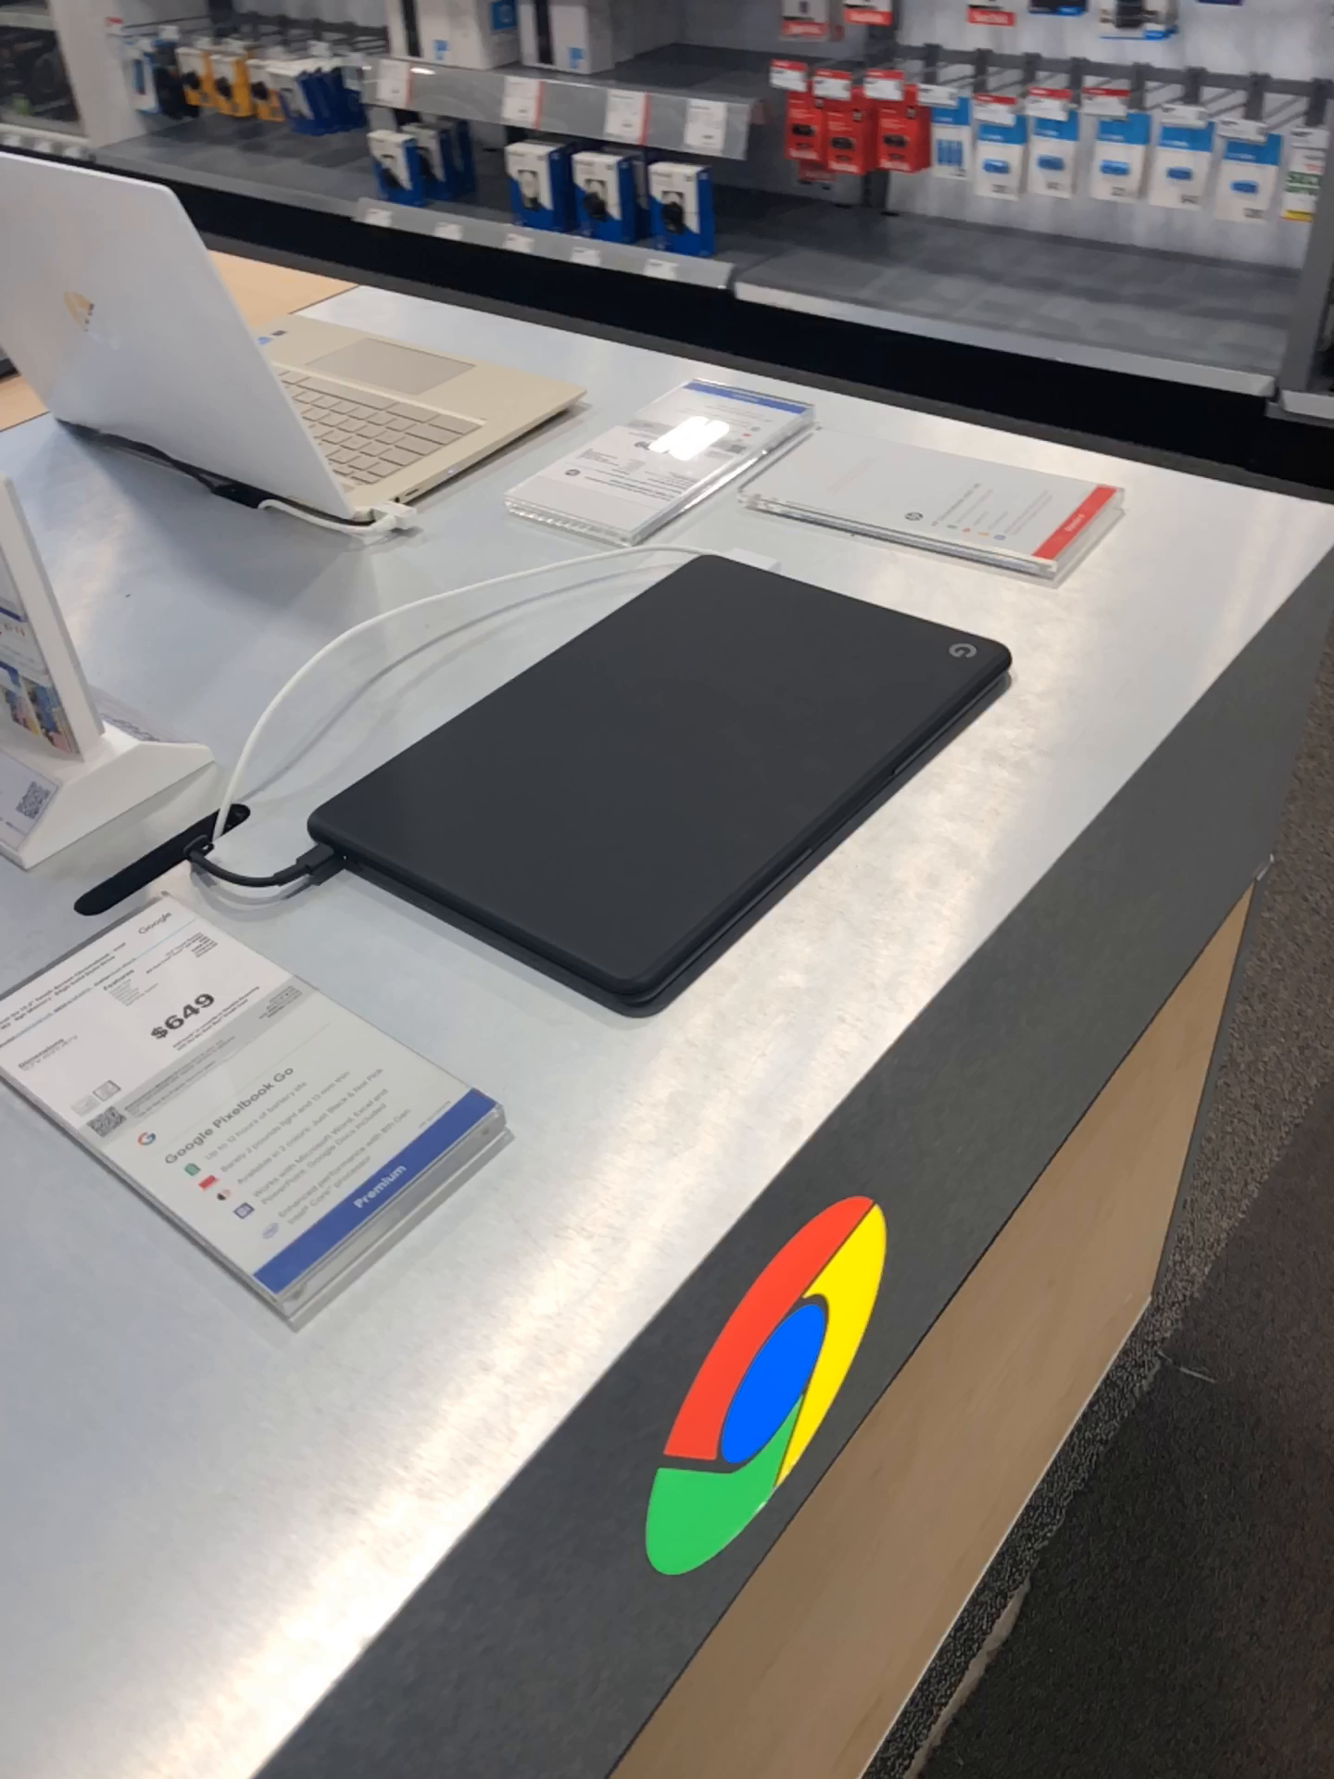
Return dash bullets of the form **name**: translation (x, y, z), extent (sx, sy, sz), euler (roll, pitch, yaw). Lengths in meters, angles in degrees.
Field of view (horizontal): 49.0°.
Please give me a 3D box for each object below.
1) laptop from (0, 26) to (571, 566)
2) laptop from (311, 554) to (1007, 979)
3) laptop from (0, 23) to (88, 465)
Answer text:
- **laptop**: translation (-0.274, -0.403, 0.952), extent (0.303, 0.206, 0.275), euler (24, 48, 29)
- **laptop**: translation (0.006, -0.079, 0.697), extent (0.195, 0.001, 0.297), euler (24, 46, 30)
- **laptop**: translation (-0.680, -0.505, 1.113), extent (0.306, 0.189, 0.288), euler (25, 49, 29)
